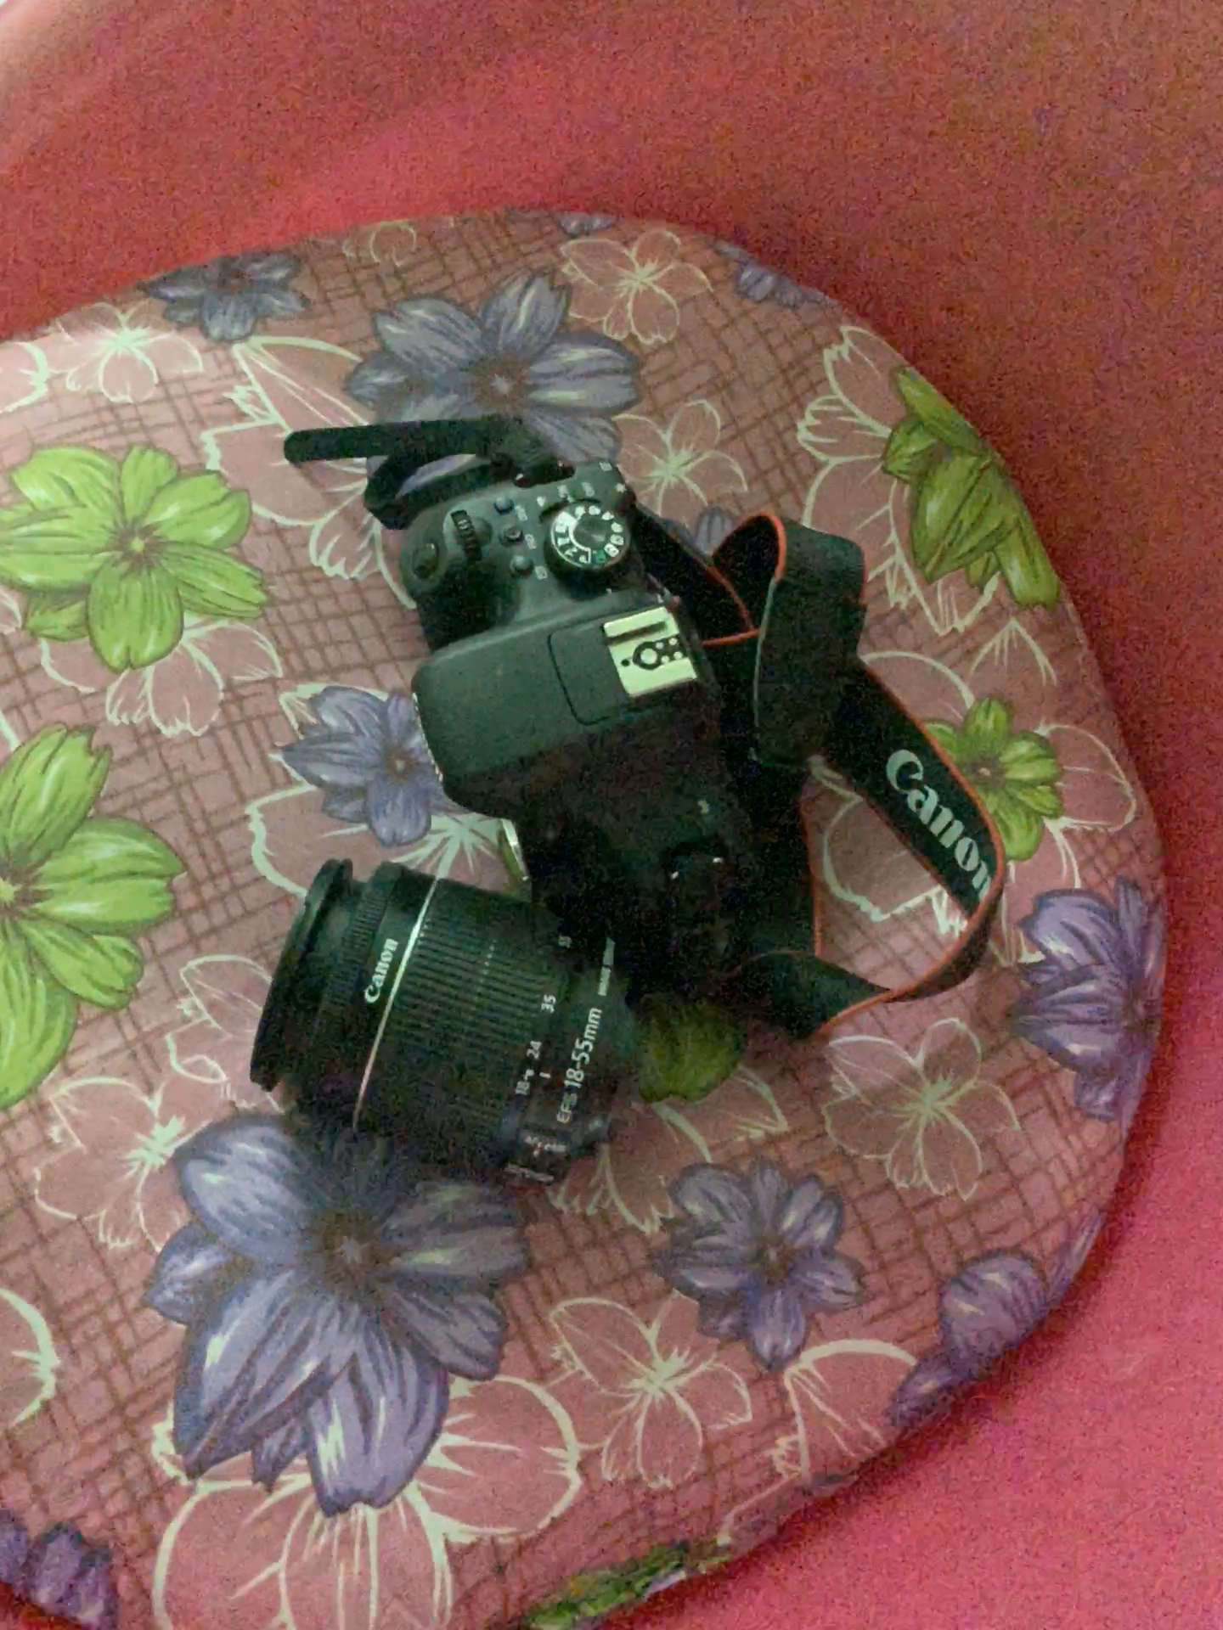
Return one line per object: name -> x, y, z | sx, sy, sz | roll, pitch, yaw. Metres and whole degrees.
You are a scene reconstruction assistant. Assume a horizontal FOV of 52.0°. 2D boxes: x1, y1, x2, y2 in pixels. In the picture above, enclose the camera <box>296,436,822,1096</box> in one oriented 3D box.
camera -> -0.018, -0.012, 0.345 | 0.086, 0.079, 0.143 | -19, 69, -9
